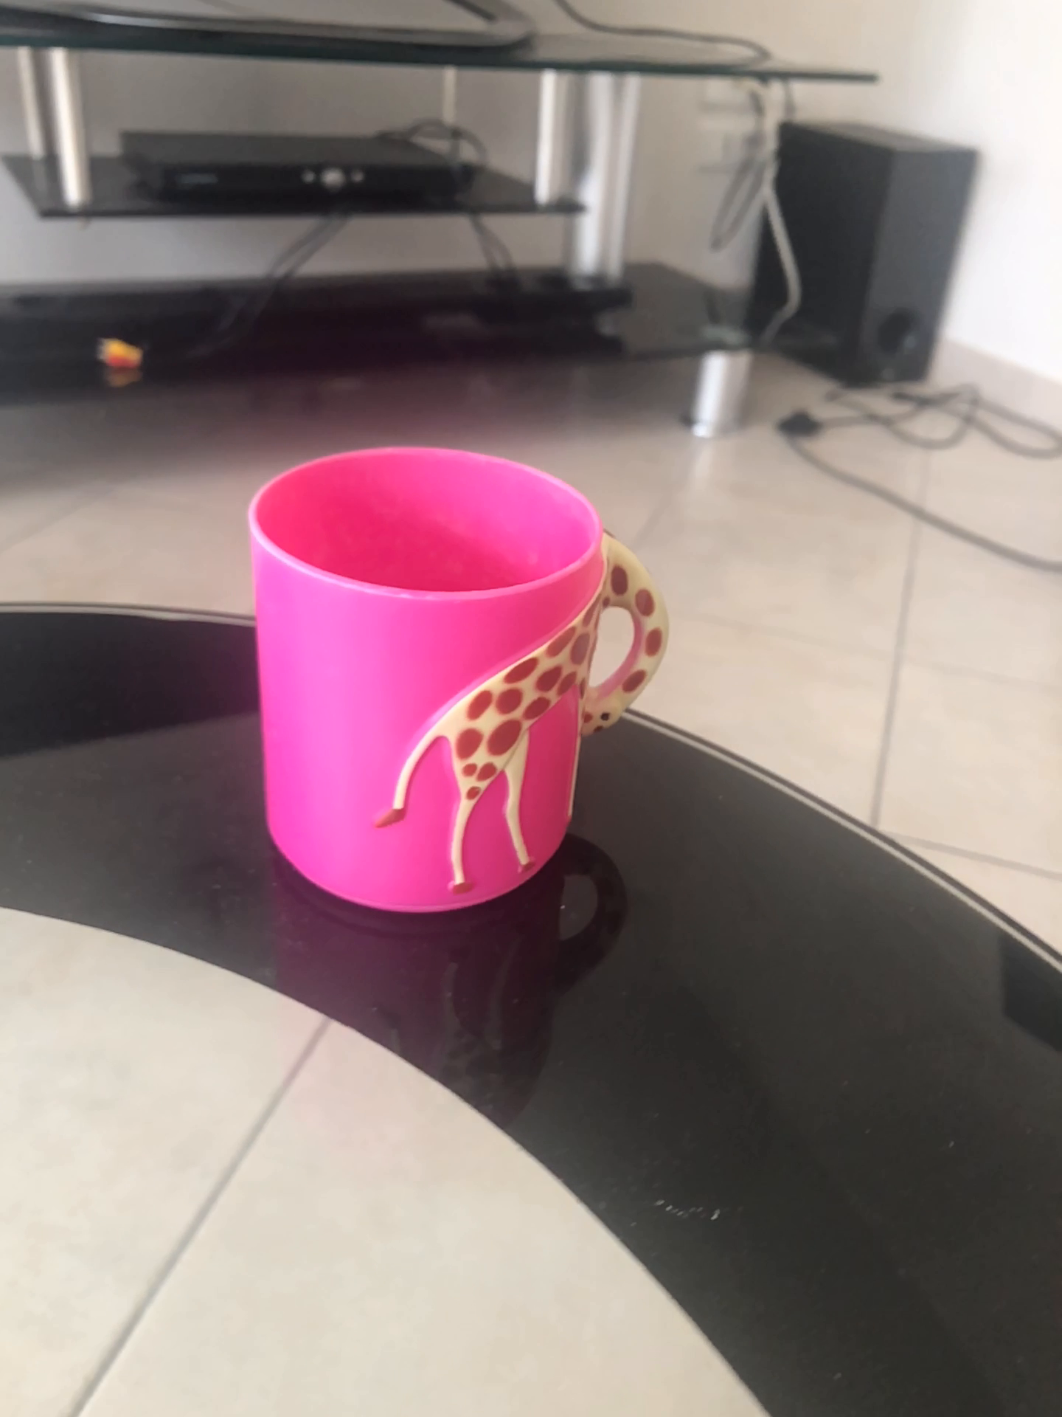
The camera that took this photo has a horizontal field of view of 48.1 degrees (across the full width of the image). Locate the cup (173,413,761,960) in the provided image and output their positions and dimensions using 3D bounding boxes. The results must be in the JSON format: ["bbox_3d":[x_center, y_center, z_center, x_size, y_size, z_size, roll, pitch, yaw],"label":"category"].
[{"bbox_3d":[-0.015,-0.011,0.248,0.090,0.070,0.070,-17,38,-31],"label":"cup"}]
